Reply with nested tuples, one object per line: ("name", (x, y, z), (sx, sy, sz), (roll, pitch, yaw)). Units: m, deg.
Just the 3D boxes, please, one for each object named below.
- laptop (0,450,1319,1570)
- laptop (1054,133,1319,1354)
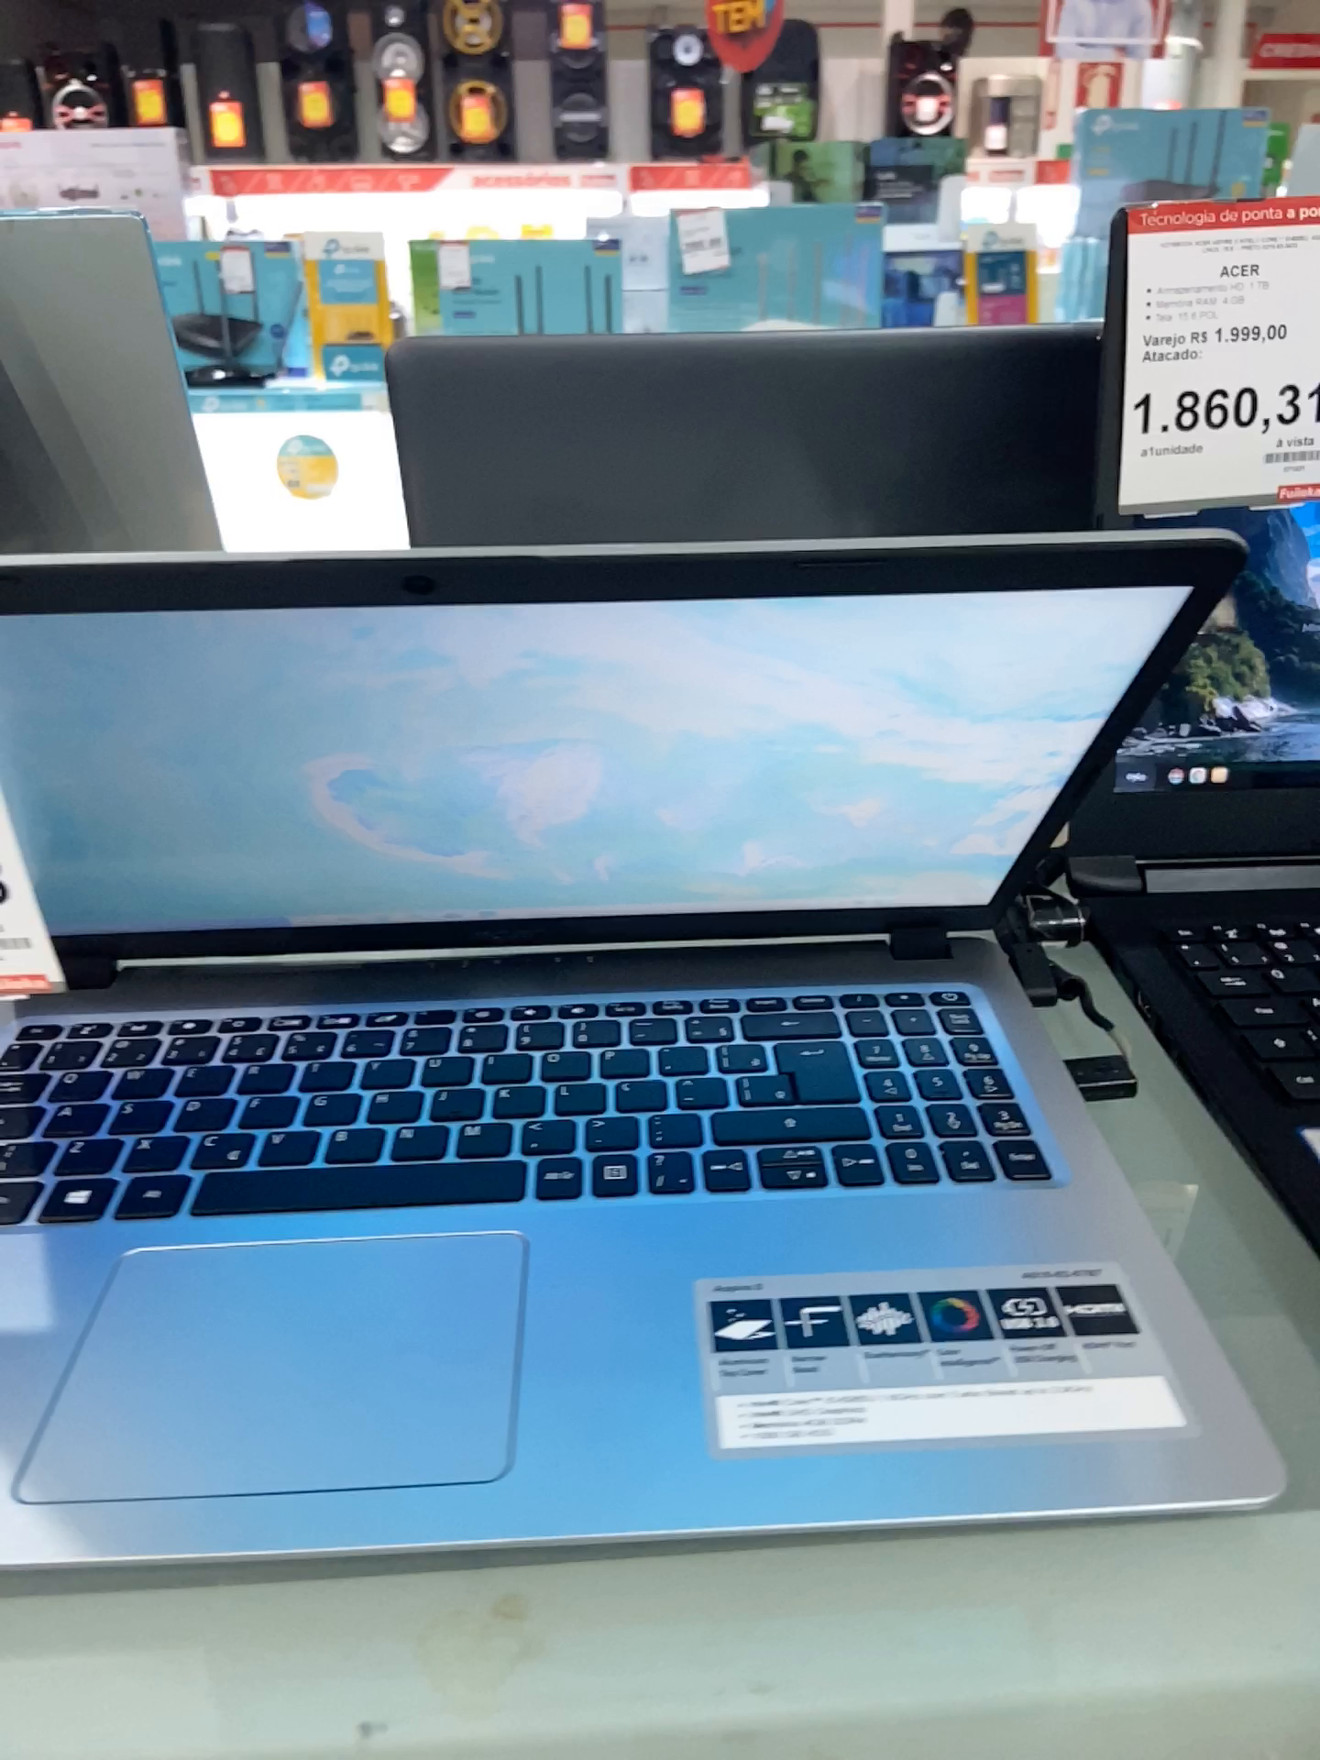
("laptop", (-0.052, 0.001, 0.353), (0.352, 0.175, 0.237), (-2, 26, -3))
("laptop", (0.350, -0.068, 0.399), (0.354, 0.238, 0.289), (-2, 25, -1))
